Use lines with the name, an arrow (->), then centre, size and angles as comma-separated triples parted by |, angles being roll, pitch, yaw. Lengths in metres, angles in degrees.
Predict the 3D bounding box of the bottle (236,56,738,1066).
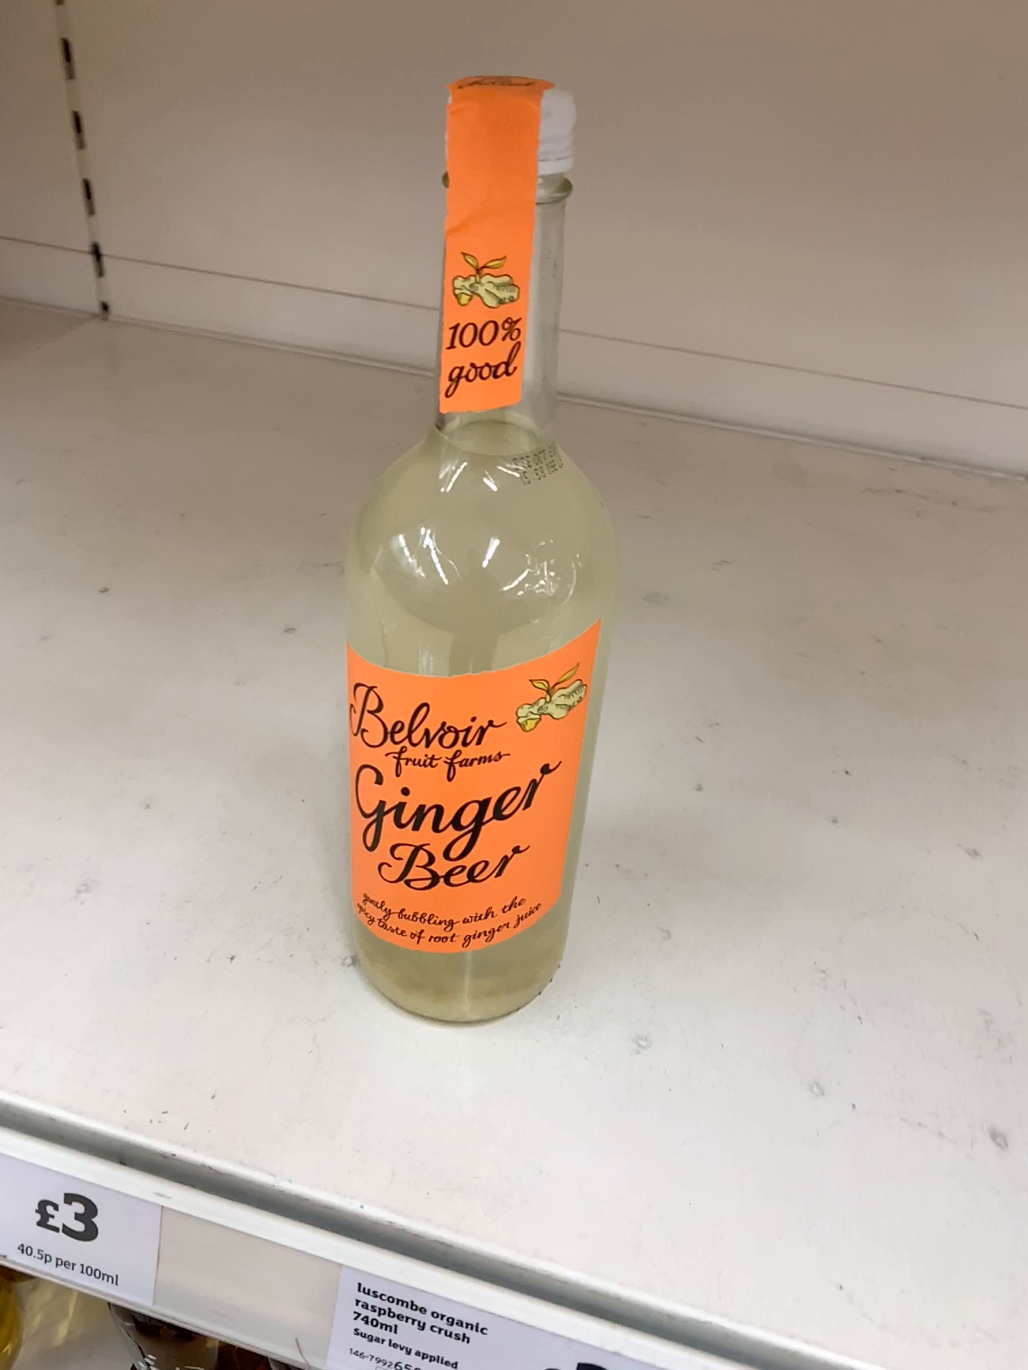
bottle -> -0.010, -0.020, 0.316 | 0.084, 0.277, 0.091 | 3, 36, -2
